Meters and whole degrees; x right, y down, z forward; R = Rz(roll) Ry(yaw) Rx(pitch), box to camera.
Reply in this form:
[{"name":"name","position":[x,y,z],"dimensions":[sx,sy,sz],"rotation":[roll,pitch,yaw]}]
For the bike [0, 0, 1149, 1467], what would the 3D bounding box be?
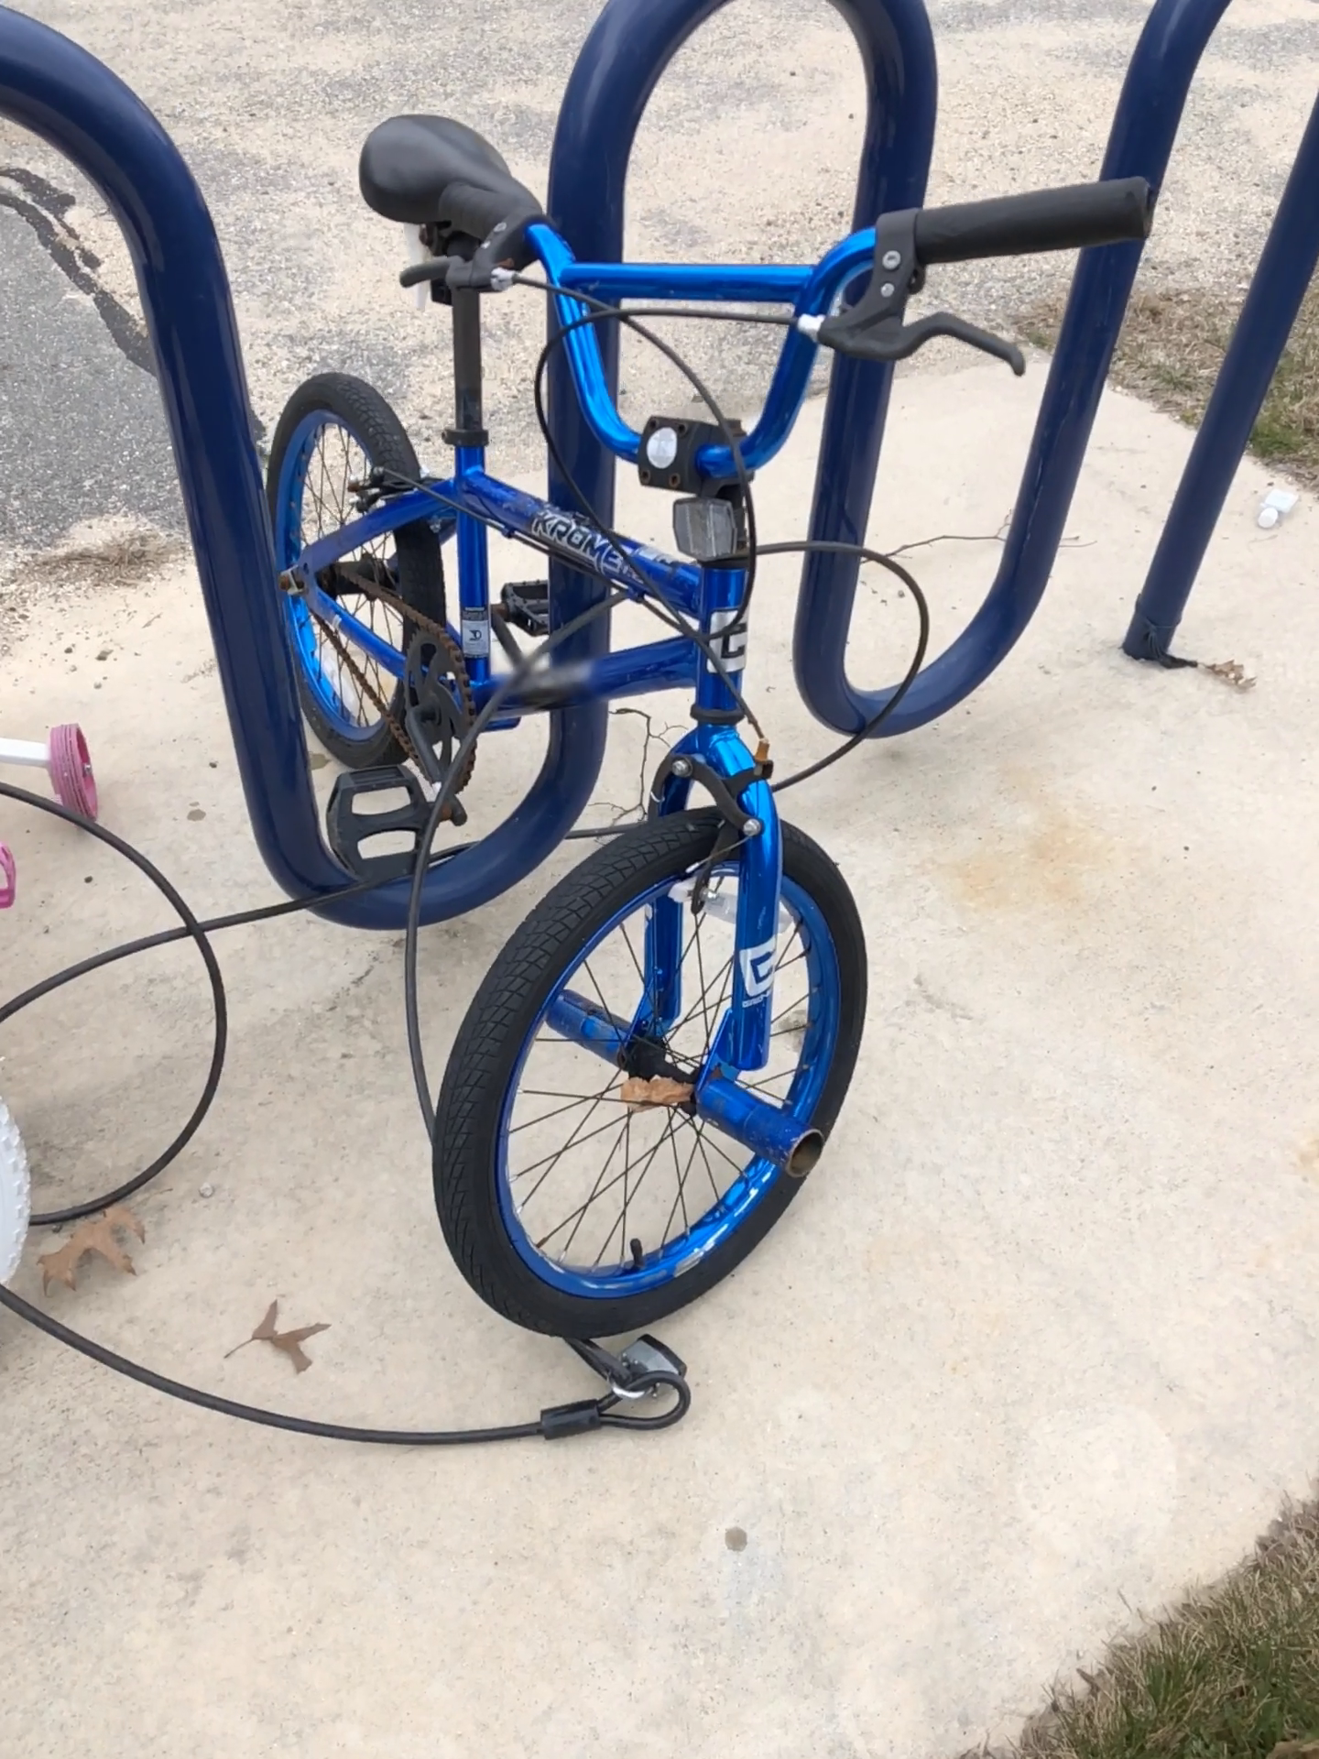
[{"name":"bike","position":[-0.174,-0.290,1.303],"dimensions":[0.622,0.840,1.034],"rotation":[-12,43,-15]}]
